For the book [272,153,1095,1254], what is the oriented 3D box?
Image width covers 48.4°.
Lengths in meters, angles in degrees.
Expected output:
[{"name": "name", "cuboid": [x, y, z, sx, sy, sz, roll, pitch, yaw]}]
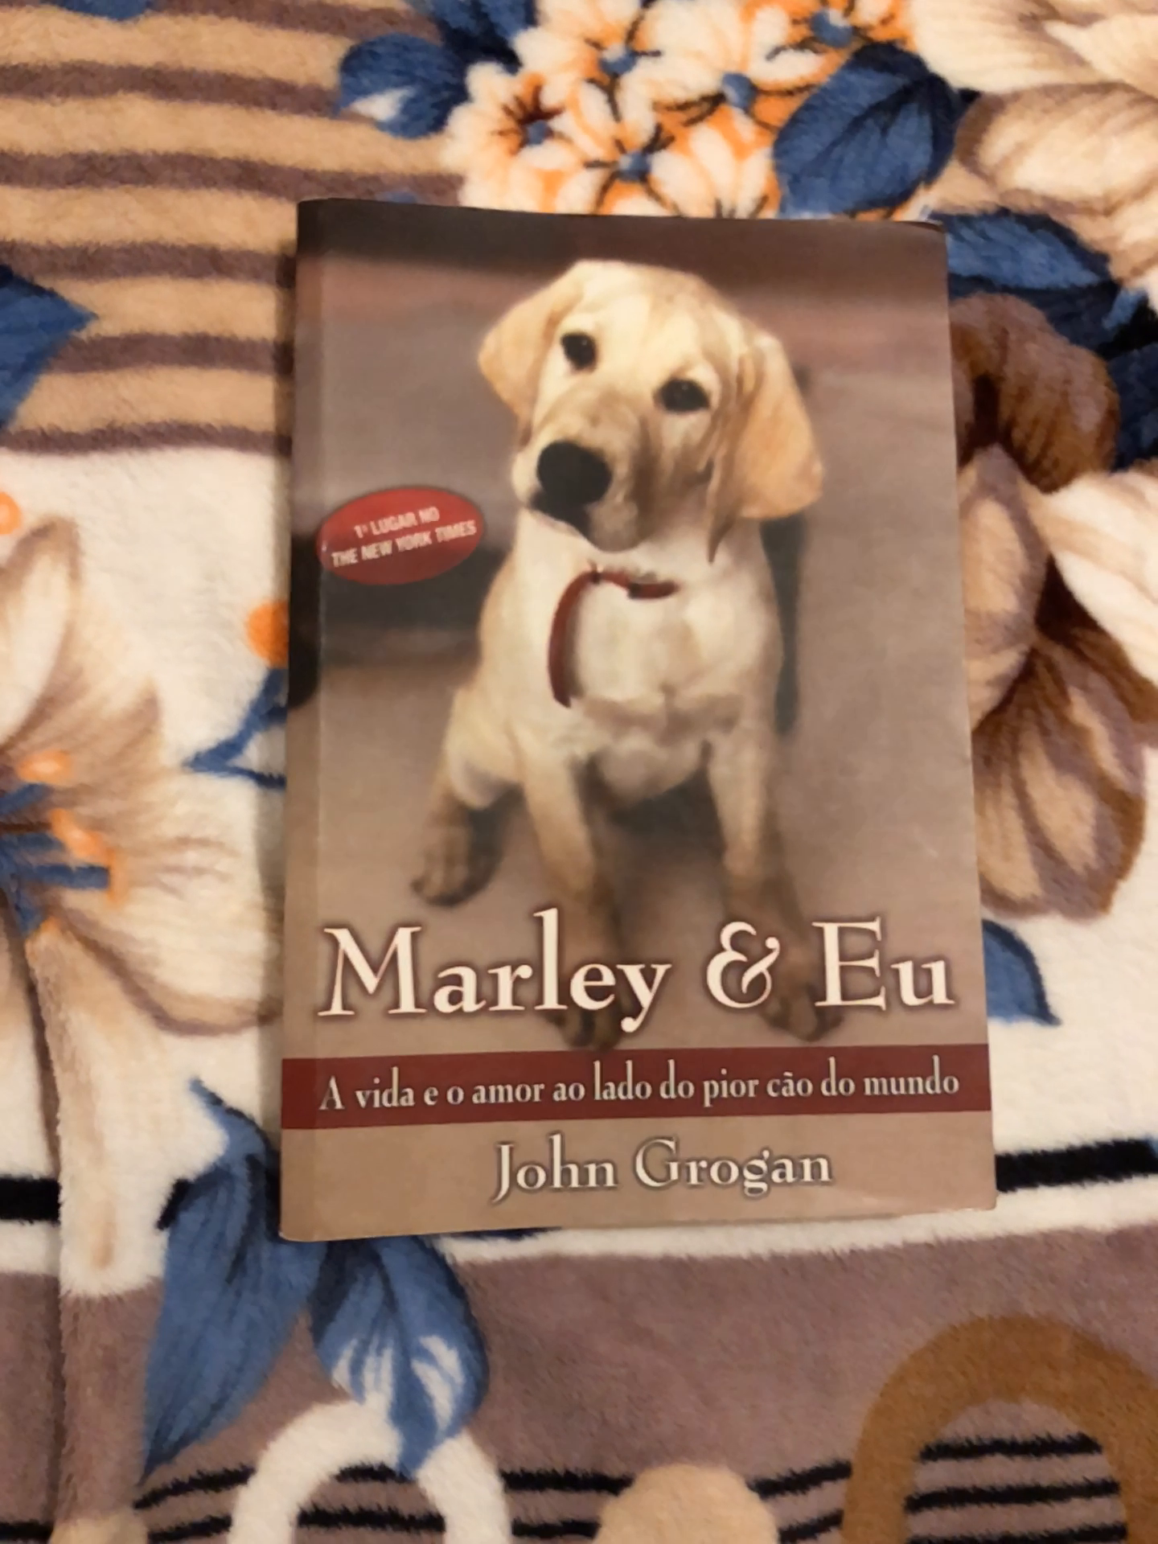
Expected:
[{"name": "book", "cuboid": [0.019, -0.019, 0.295, 0.170, 0.040, 0.230, -1, 83, -7]}]
